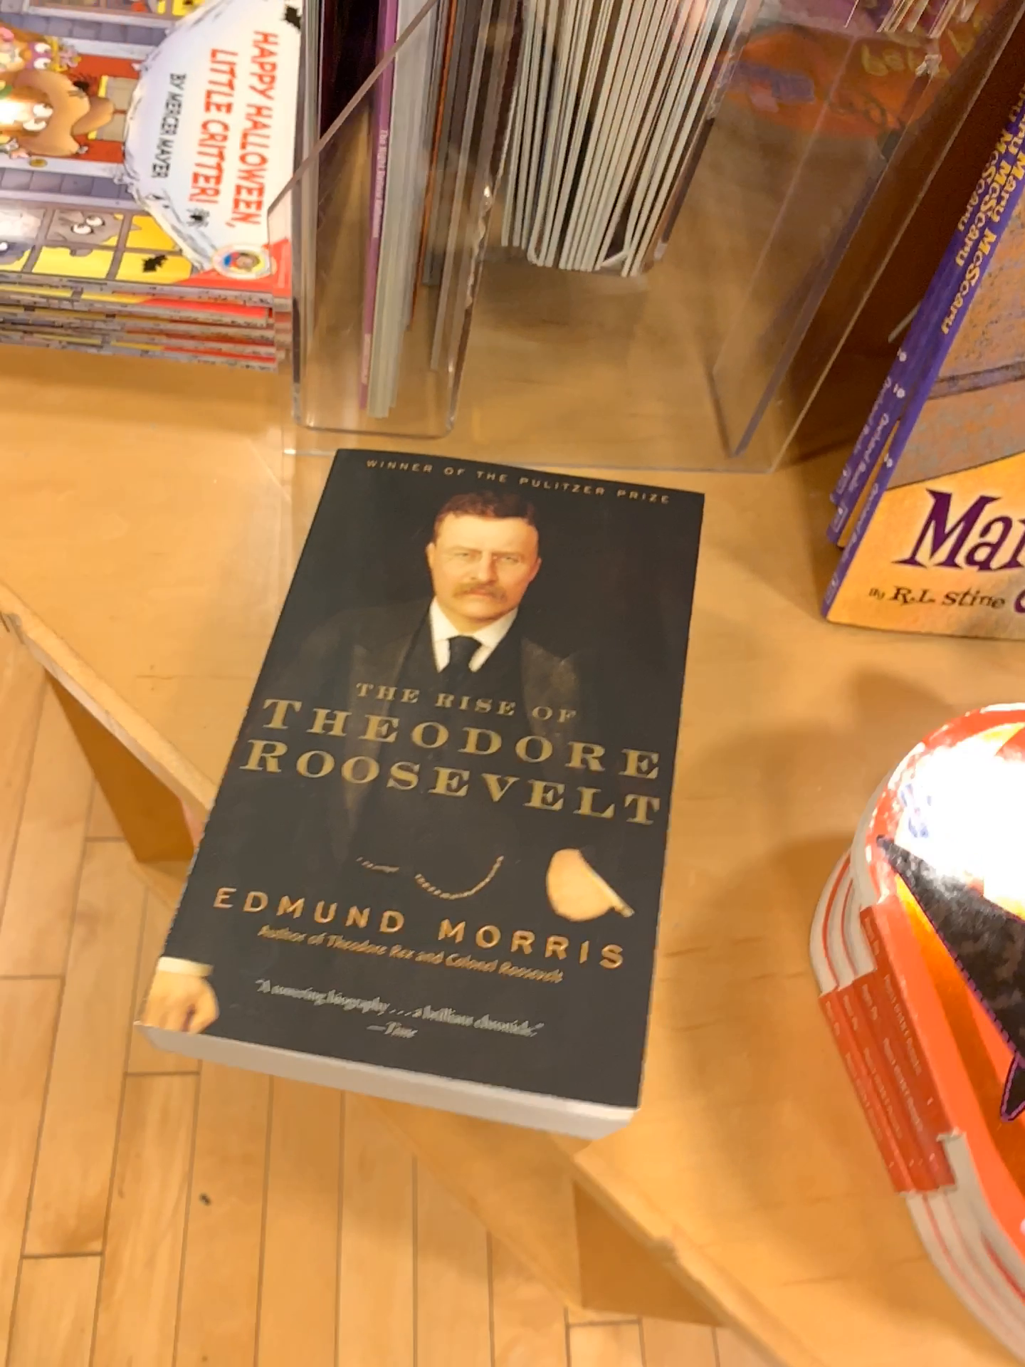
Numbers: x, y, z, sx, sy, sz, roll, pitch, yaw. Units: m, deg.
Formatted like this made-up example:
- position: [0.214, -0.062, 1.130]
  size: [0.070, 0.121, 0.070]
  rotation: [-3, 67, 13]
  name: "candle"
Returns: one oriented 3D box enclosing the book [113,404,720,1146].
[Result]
- position: [-0.017, 0.022, 0.328]
  size: [0.130, 0.066, 0.195]
  rotation: [13, 60, -2]
  name: "book"
